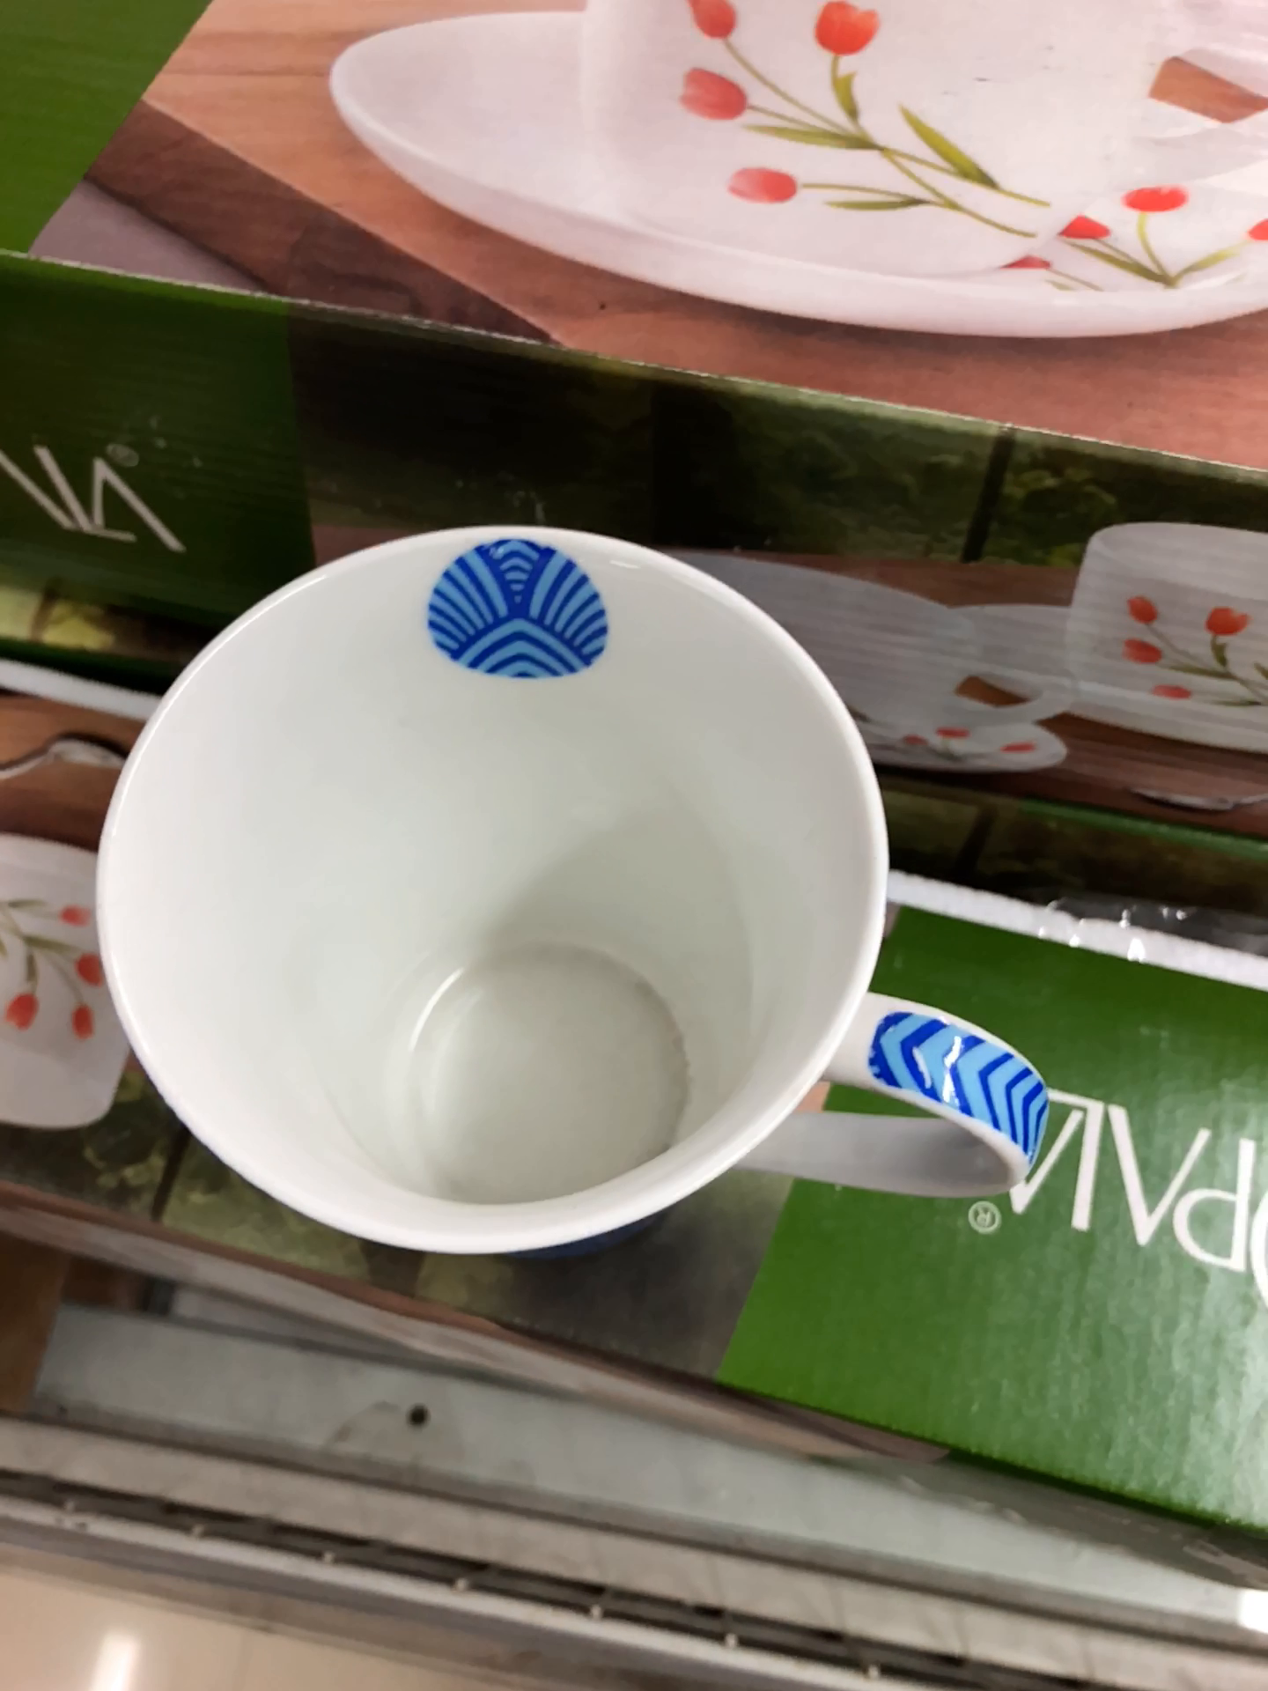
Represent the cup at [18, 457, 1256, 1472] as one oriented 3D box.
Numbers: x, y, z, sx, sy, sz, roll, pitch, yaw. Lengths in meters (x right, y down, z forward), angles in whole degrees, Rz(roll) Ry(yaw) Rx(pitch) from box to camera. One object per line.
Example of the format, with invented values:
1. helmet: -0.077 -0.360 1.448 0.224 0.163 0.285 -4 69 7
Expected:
1. cup: 0.005 0.022 0.196 0.110 0.100 0.080 16 71 8
